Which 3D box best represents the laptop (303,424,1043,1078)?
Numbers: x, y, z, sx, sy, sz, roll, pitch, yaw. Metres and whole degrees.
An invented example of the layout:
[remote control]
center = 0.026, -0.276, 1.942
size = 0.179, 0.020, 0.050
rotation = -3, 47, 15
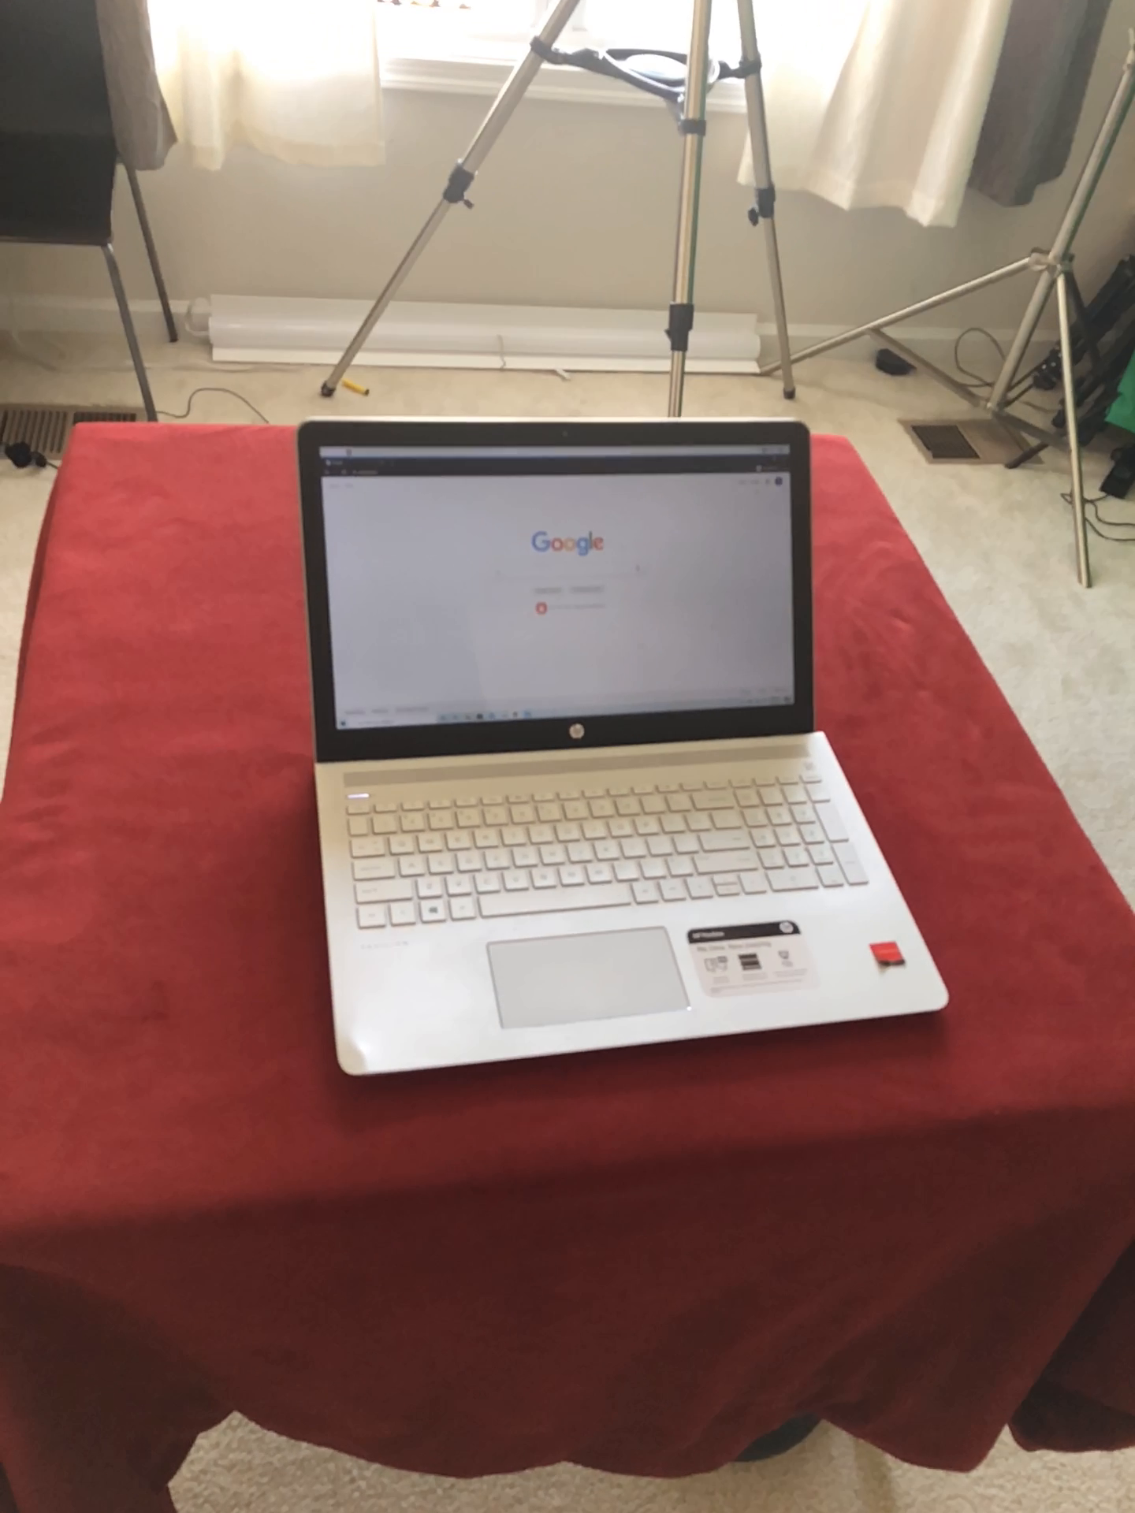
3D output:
[laptop]
center = 0.025, -0.032, 0.791
size = 0.360, 0.158, 0.397
rotation = -3, 47, -13
